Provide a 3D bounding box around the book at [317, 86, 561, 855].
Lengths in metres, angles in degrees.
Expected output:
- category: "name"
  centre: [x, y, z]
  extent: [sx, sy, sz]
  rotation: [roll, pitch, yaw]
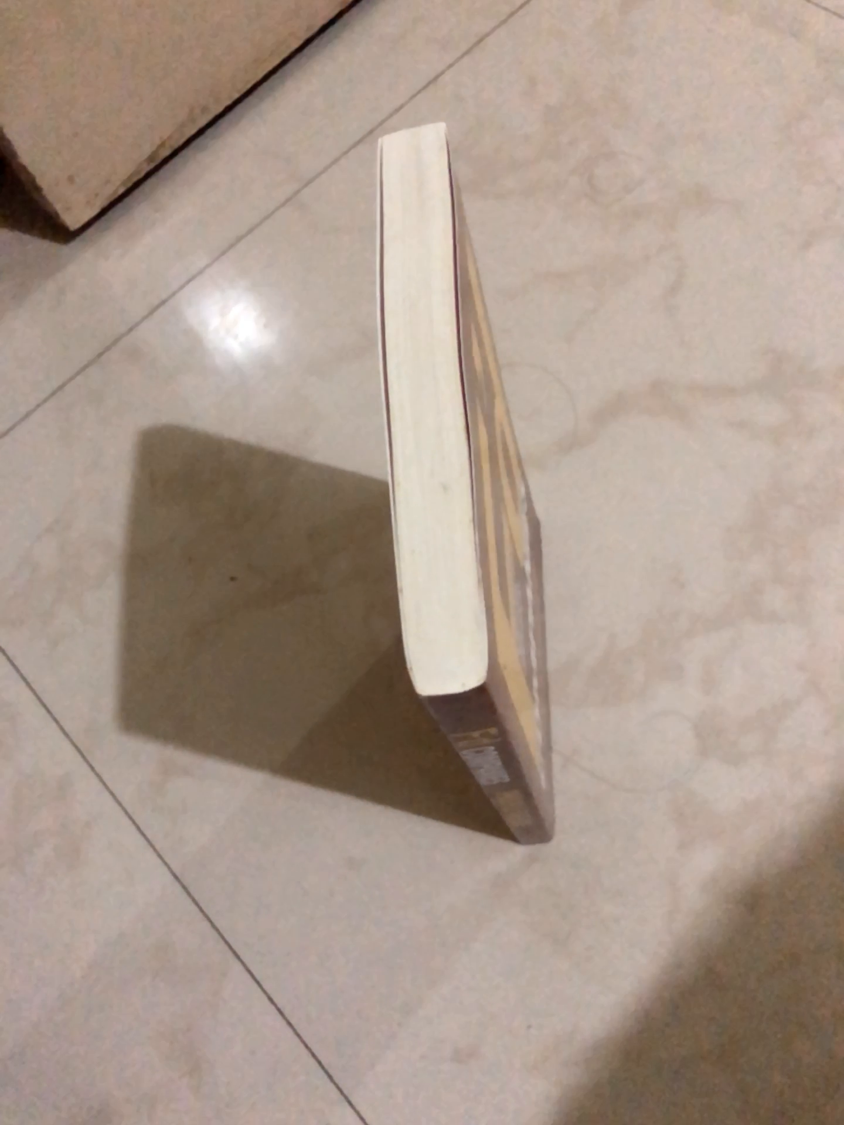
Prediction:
- category: "book"
  centre: [0.014, 0.002, 0.262]
  extent: [0.030, 0.200, 0.130]
  rotation: [-5, 66, 8]
